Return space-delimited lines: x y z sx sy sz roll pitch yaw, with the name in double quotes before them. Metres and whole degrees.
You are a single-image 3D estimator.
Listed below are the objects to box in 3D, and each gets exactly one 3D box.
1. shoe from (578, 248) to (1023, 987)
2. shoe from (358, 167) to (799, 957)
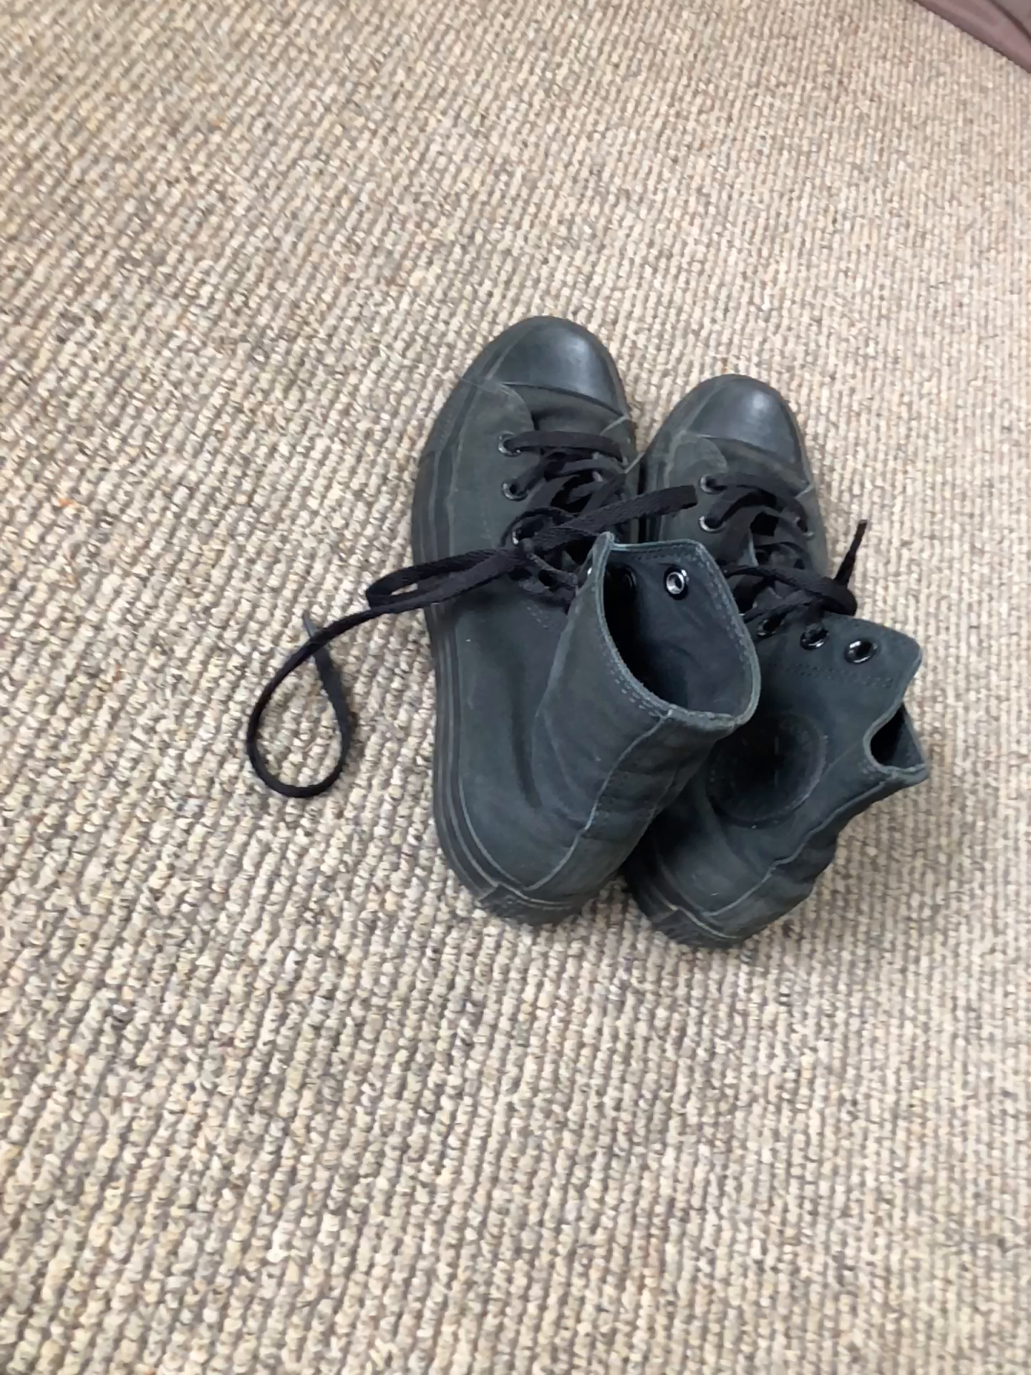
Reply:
"shoe" 0.099 -0.026 0.444 0.089 0.126 0.244 16 58 -17
"shoe" 0.017 -0.042 0.407 0.089 0.126 0.236 14 59 -19
